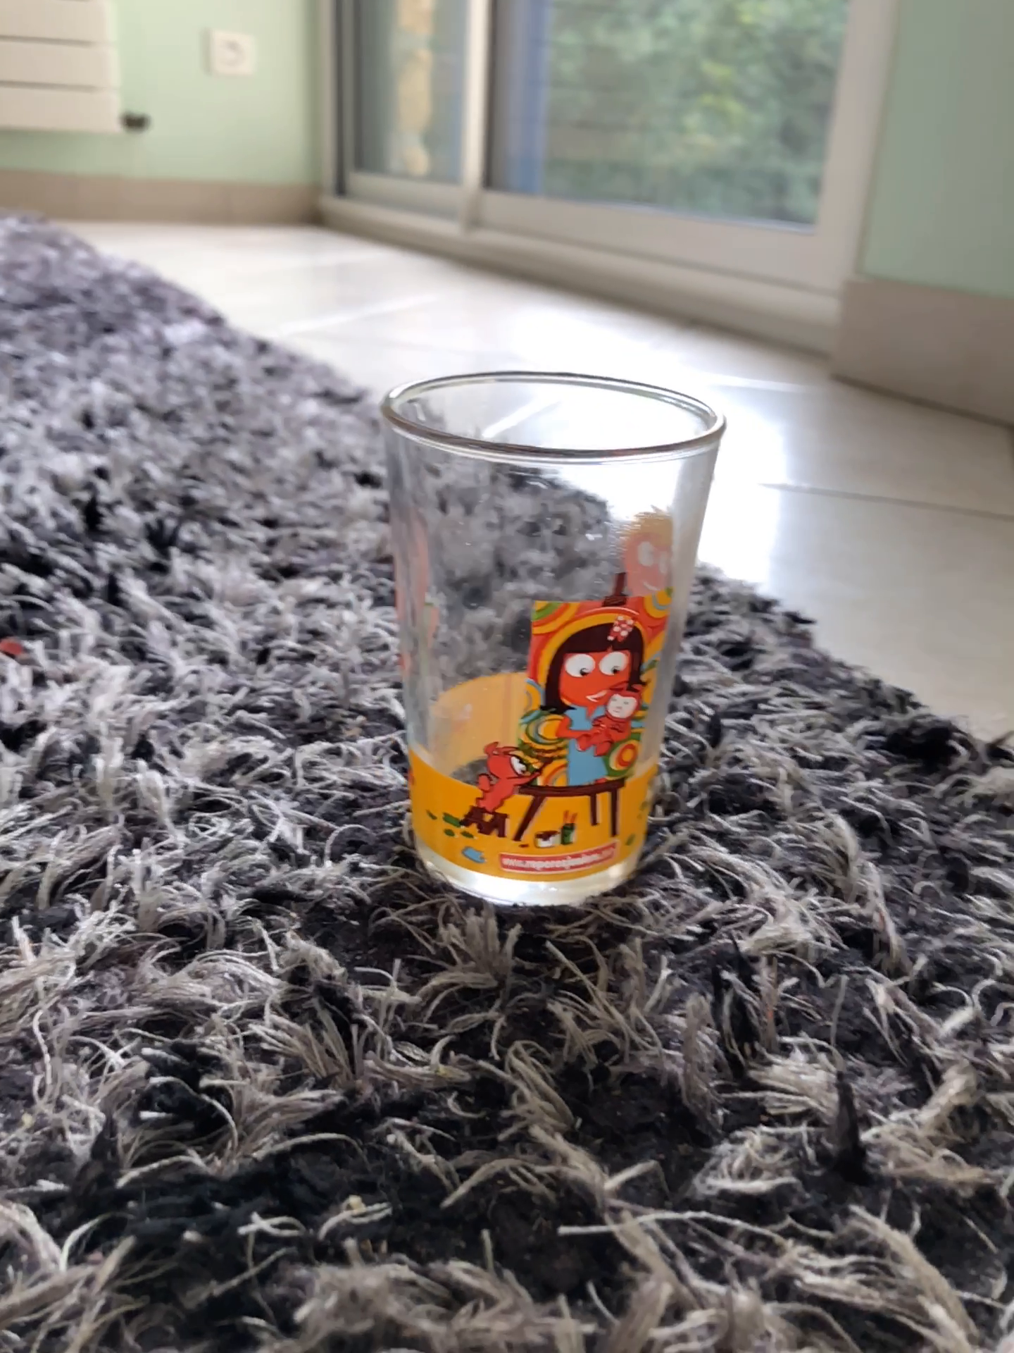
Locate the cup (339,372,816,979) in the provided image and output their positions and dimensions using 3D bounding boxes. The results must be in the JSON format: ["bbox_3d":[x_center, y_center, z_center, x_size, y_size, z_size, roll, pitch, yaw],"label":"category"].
[{"bbox_3d":[0.007,-0.006,0.234,0.070,0.099,0.070,3,24,-1],"label":"cup"}]
